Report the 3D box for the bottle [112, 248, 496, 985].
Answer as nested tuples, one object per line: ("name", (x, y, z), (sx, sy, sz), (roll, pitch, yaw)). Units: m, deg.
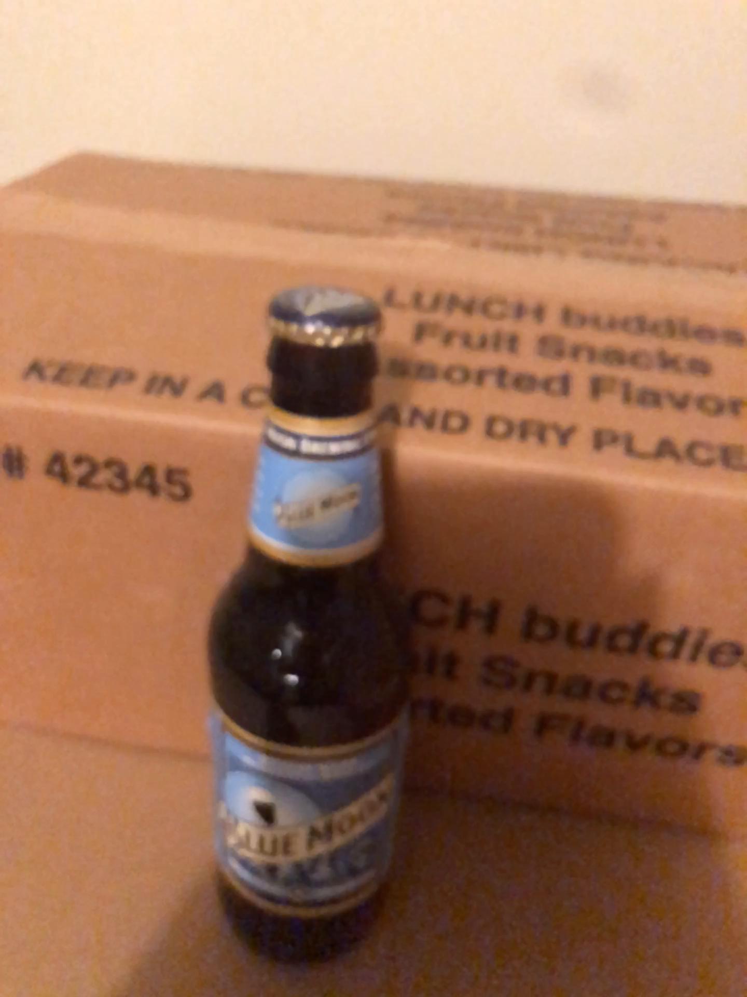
("bottle", (-0.016, 0.046, 0.239), (0.070, 0.210, 0.060), (4, 33, 1))
